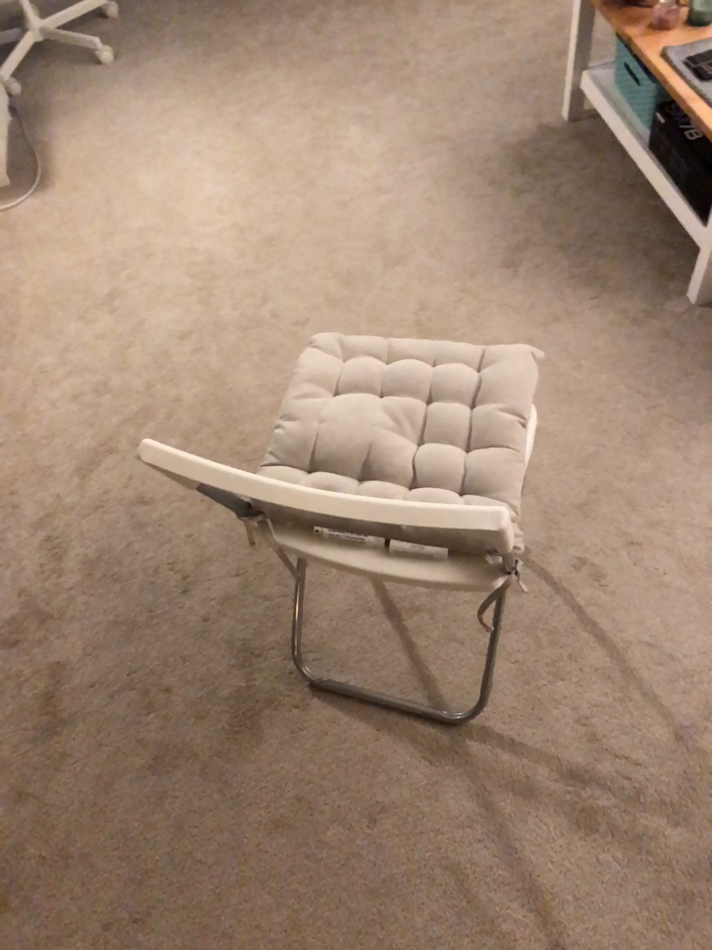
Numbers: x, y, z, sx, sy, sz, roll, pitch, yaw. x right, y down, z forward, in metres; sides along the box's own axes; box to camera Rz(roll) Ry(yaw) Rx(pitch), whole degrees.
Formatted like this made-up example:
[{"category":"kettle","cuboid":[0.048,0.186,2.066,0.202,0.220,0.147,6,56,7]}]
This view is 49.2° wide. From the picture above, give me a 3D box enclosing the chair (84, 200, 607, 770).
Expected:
[{"category":"chair","cuboid":[0.052,0.041,1.225,0.510,0.667,0.542,10,58,15]}]
